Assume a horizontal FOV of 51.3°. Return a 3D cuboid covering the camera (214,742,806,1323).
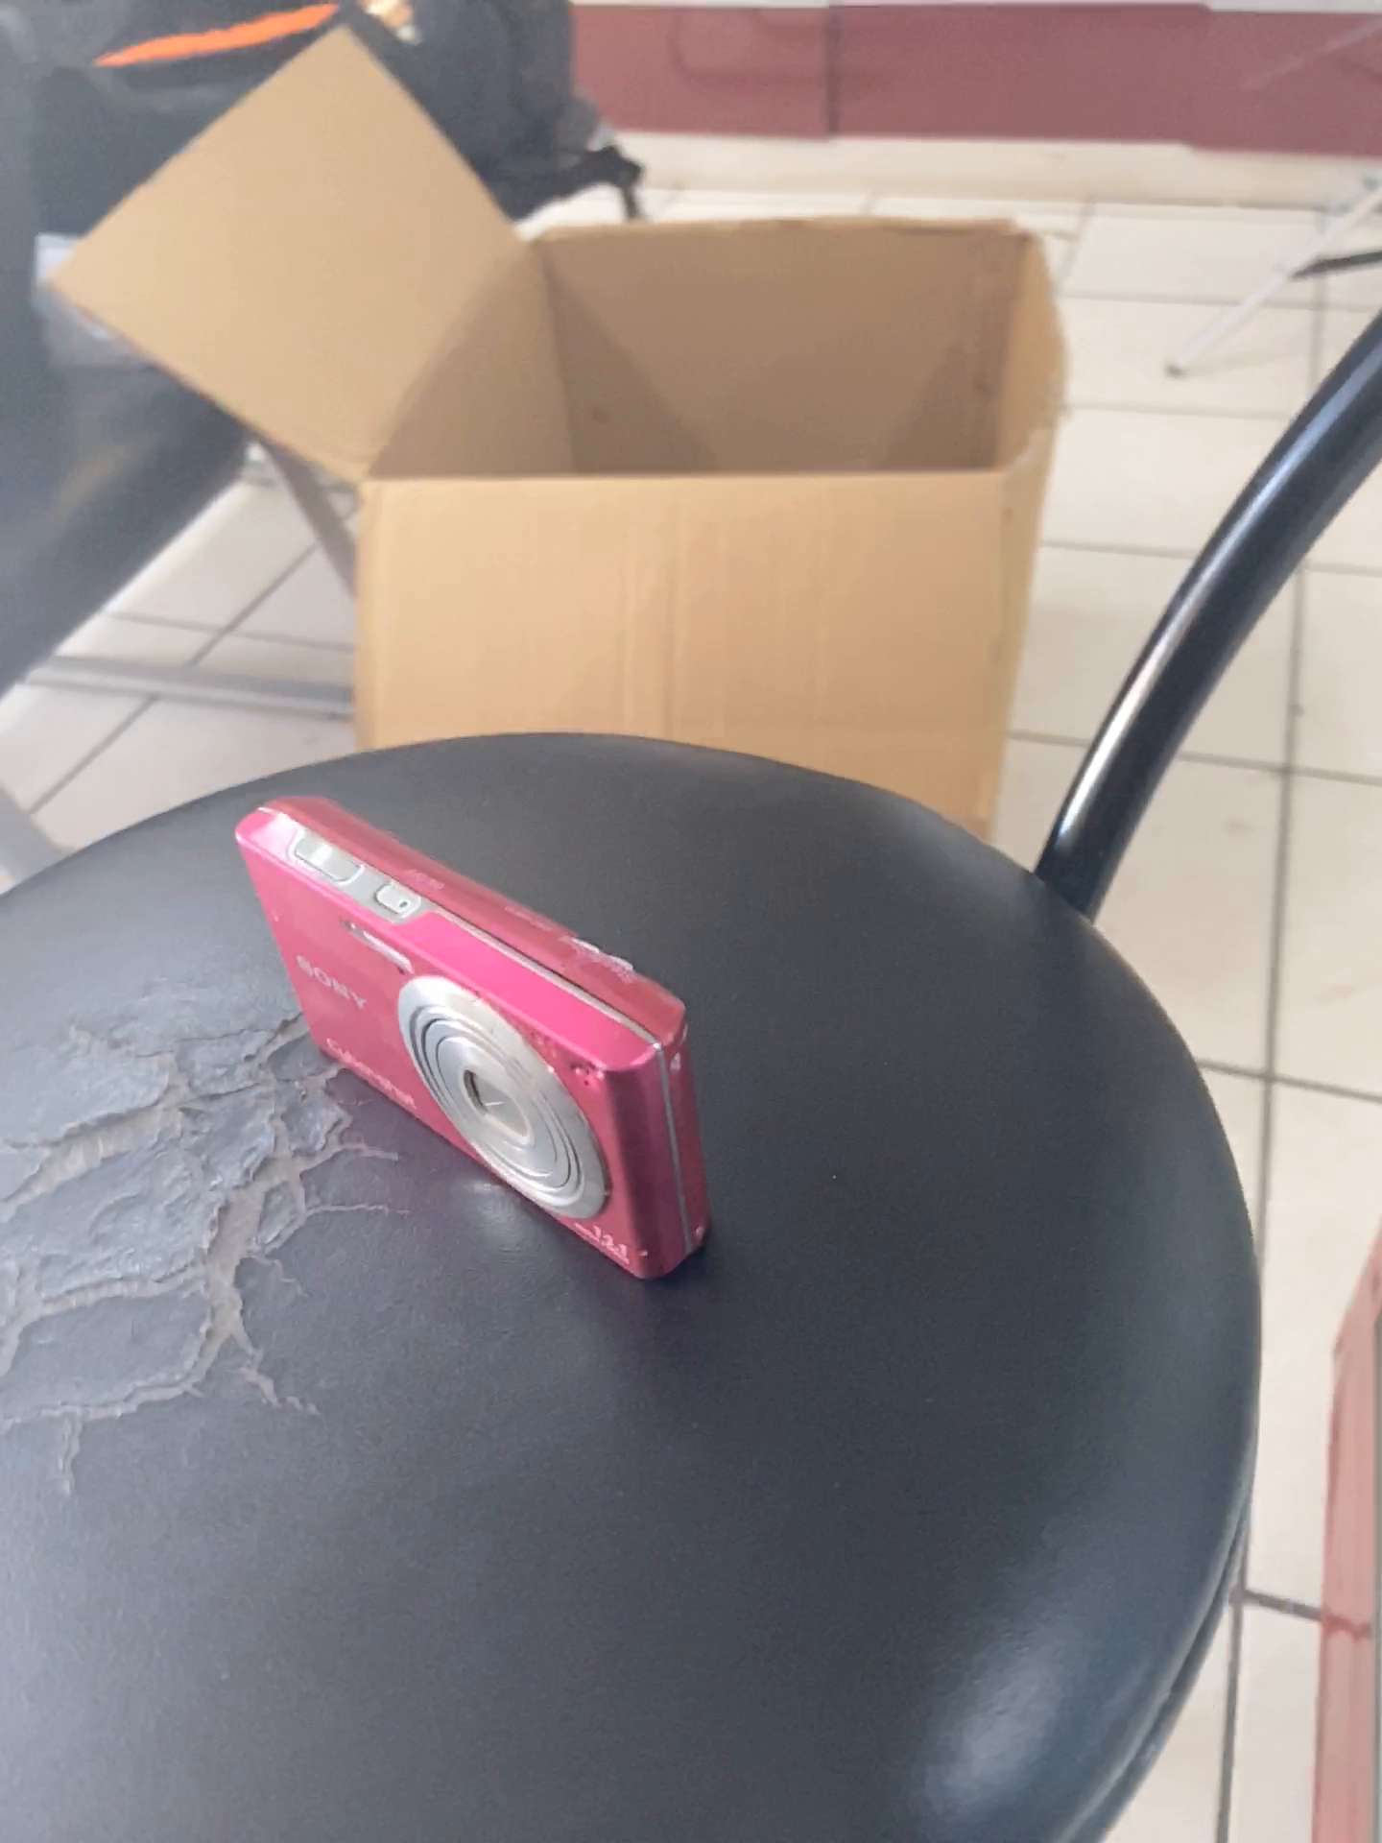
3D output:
[{"bbox_3d":[-0.031,0.014,0.237,0.100,0.050,0.030,28,52,34],"label":"camera"}]
